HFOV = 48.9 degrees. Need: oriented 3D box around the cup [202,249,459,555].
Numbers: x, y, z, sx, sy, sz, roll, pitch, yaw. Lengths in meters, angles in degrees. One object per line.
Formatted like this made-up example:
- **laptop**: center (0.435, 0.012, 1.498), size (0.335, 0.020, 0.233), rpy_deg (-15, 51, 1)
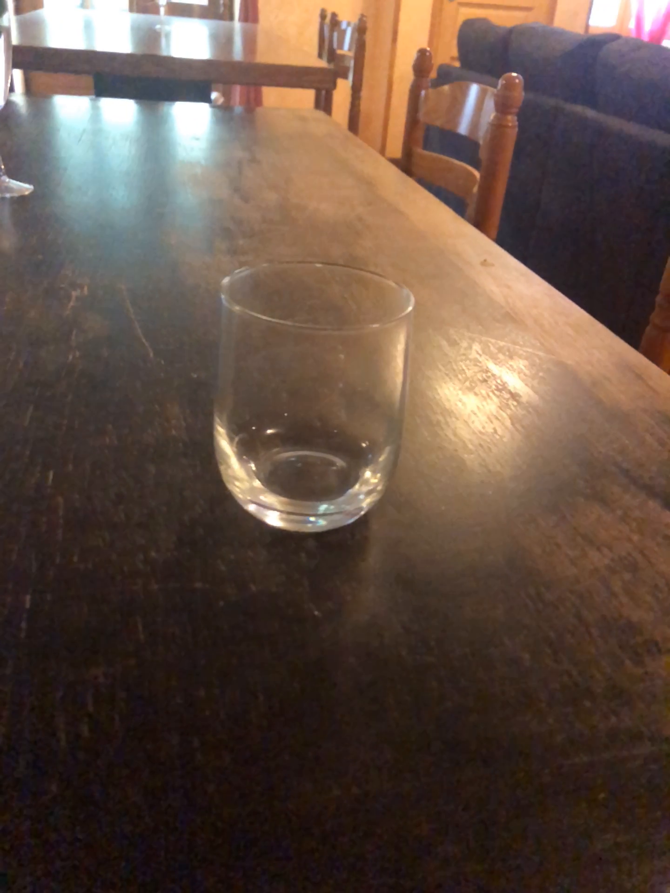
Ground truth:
- **cup**: center (-0.008, -0.021, 0.280), size (0.071, 0.084, 0.078), rpy_deg (-6, 32, -17)
